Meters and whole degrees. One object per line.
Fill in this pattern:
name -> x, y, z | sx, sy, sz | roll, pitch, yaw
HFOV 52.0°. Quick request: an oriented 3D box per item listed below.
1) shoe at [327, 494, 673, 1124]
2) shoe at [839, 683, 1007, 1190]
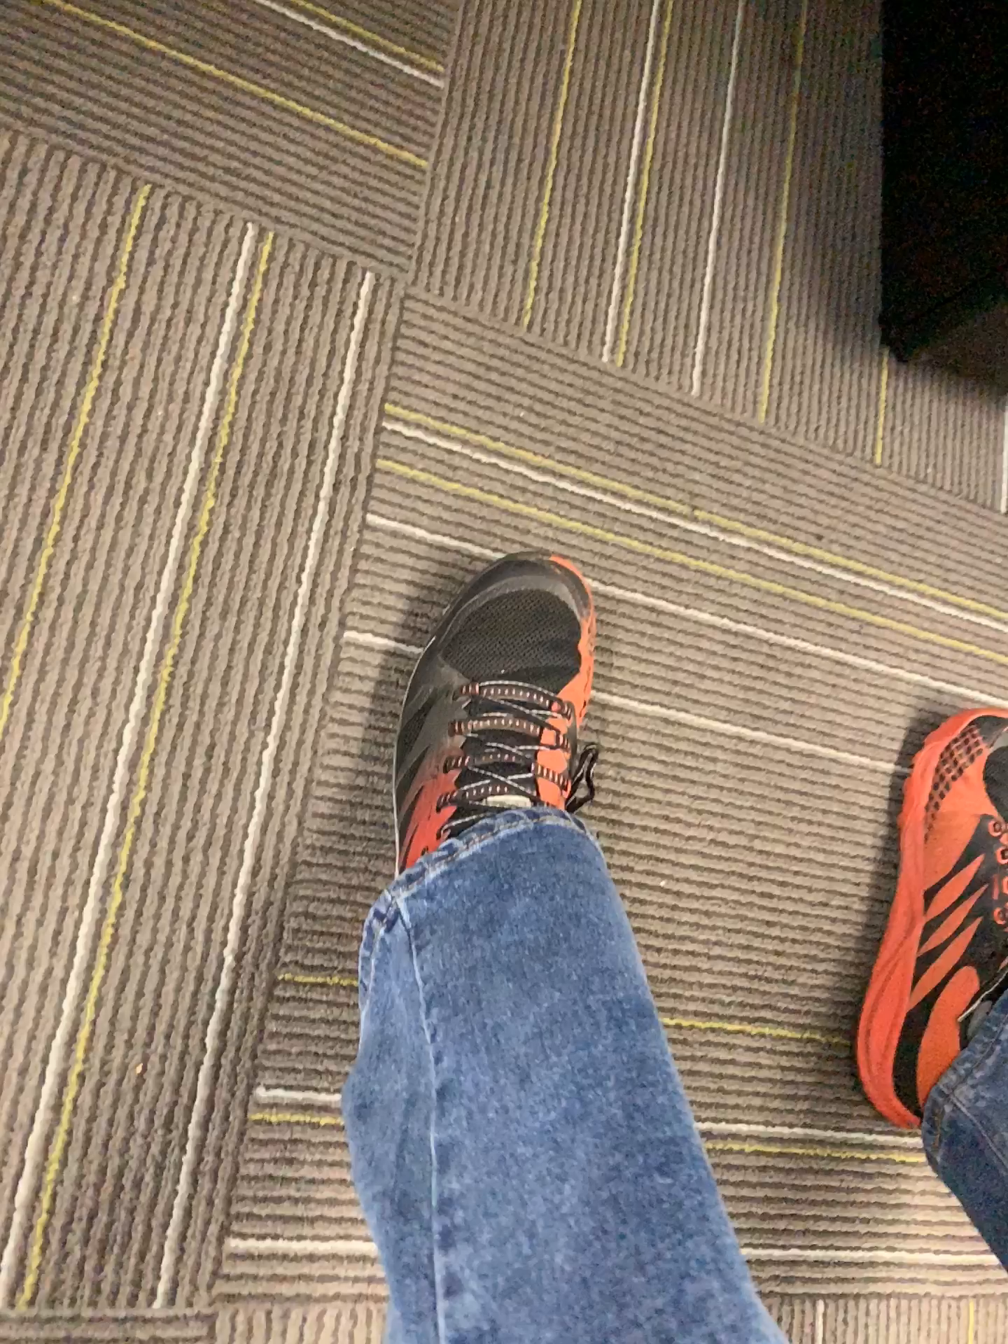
shoe -> 0.001, 0.071, 0.574 | 0.132, 0.090, 0.305 | 10, 76, -3
shoe -> 0.343, 0.176, 0.718 | 0.140, 0.090, 0.302 | 27, 71, -31
